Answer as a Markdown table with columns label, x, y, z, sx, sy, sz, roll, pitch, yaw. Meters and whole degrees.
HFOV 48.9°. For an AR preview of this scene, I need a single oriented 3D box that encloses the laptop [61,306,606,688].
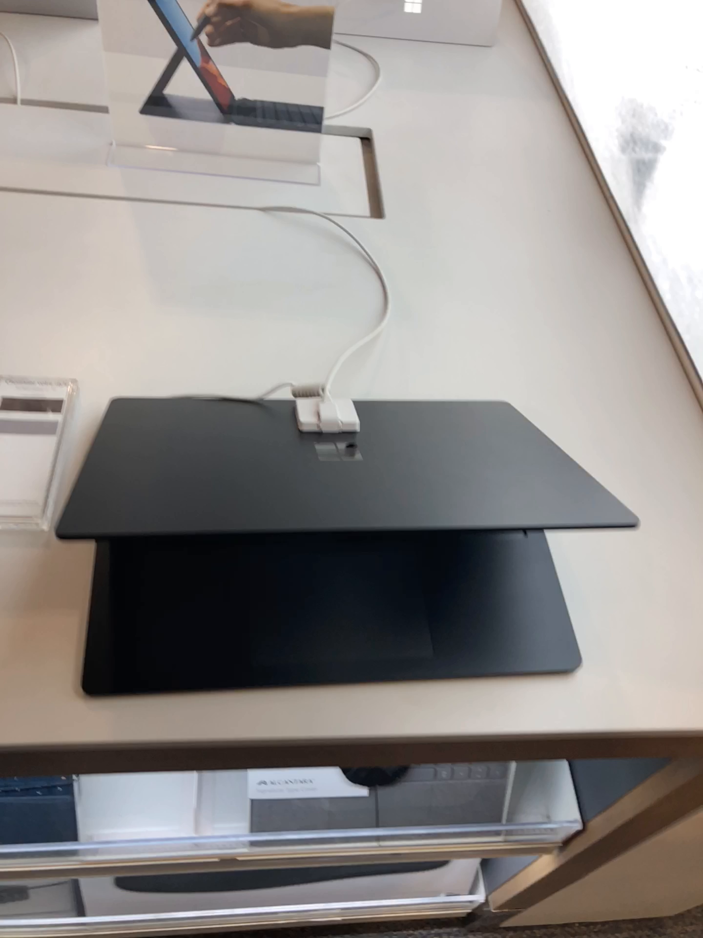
| label | x | y | z | sx | sy | sz | roll | pitch | yaw |
| --- | --- | --- | --- | --- | --- | --- | --- | --- | --- |
| laptop | -0.012 | 0.010 | 0.476 | 0.284 | 0.086 | 0.191 | -1 | 60 | -11 |
